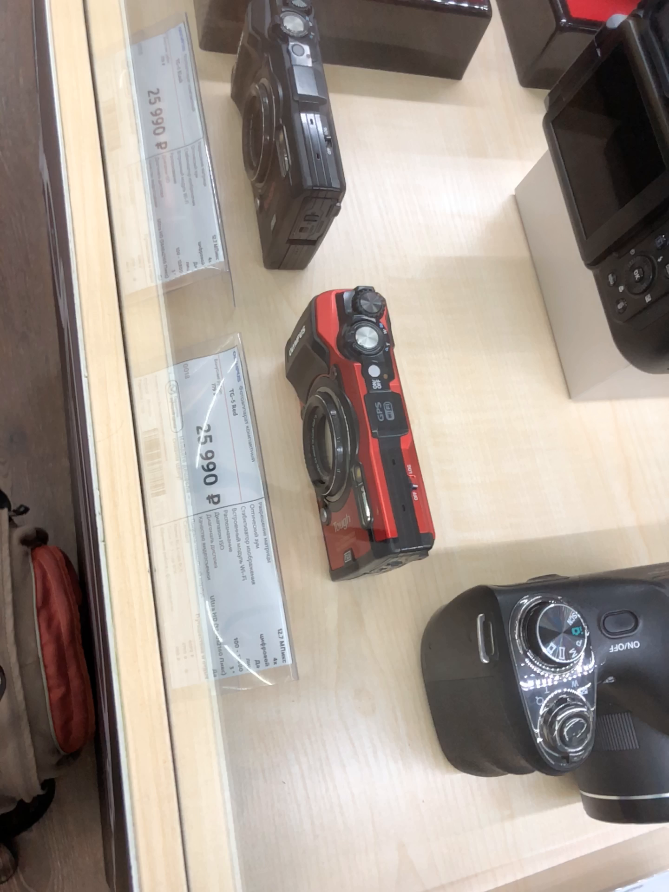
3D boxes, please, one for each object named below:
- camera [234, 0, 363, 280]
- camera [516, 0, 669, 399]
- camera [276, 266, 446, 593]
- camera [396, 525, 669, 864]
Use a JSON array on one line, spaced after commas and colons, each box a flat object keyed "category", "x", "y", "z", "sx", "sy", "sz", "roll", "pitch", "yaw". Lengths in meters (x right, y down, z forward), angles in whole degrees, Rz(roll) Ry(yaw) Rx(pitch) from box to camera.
[{"category": "camera", "x": -0.021, "y": -0.148, "z": 0.360, "sx": 0.030, "sy": 0.061, "sz": 0.117, "roll": -4, "pitch": 72, "yaw": -20}, {"category": "camera", "x": 0.172, "y": -0.107, "z": 0.320, "sx": 0.127, "sy": 0.086, "sz": 0.147, "roll": -3, "pitch": 72, "yaw": -20}, {"category": "camera", "x": 0.007, "y": -0.005, "z": 0.305, "sx": 0.030, "sy": 0.061, "sz": 0.119, "roll": -4, "pitch": 72, "yaw": -20}, {"category": "camera", "x": 0.101, "y": 0.092, "z": 0.294, "sx": 0.117, "sy": 0.078, "sz": 0.094, "roll": -4, "pitch": 72, "yaw": -20}]
